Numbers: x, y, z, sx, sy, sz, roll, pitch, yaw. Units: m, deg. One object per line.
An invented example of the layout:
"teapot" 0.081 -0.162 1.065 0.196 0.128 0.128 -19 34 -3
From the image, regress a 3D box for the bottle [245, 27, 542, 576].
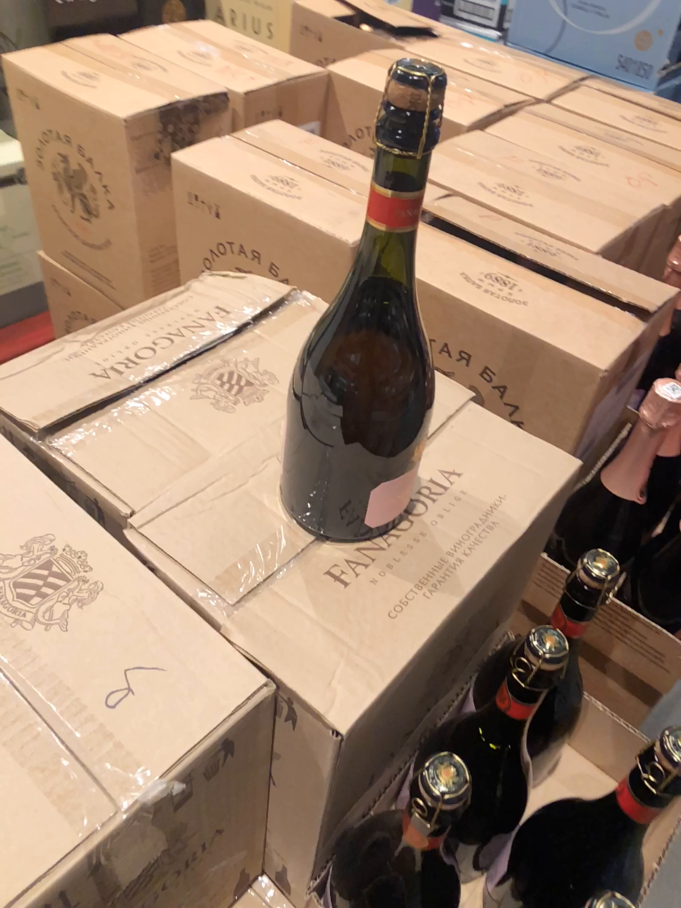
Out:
"bottle" 0.015 -0.075 0.461 0.100 0.298 0.111 29 48 21
